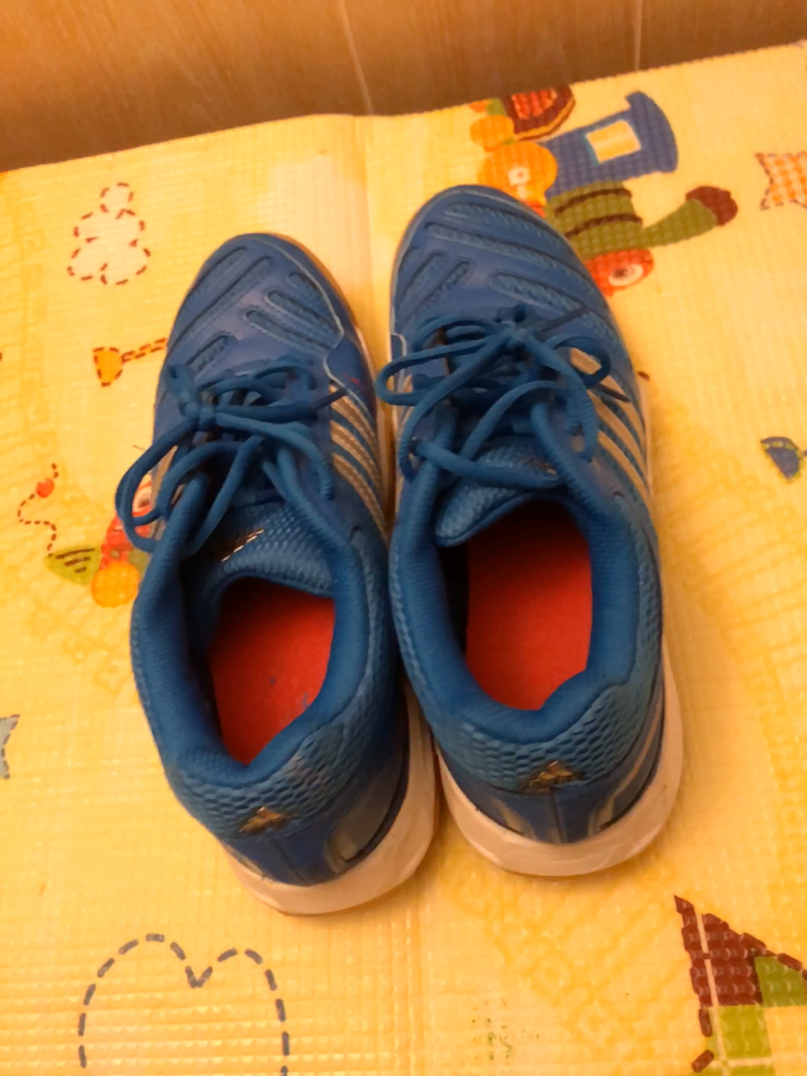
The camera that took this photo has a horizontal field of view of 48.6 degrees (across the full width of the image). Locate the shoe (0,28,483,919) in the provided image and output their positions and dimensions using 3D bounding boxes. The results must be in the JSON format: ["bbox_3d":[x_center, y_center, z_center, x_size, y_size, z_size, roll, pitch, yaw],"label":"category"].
[{"bbox_3d":[-0.052,-0.021,0.338,0.110,0.140,0.291,-10,64,7],"label":"shoe"}]

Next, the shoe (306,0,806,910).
[{"bbox_3d":[0.041,-0.031,0.321,0.110,0.120,0.291,-10,64,8],"label":"shoe"}]
